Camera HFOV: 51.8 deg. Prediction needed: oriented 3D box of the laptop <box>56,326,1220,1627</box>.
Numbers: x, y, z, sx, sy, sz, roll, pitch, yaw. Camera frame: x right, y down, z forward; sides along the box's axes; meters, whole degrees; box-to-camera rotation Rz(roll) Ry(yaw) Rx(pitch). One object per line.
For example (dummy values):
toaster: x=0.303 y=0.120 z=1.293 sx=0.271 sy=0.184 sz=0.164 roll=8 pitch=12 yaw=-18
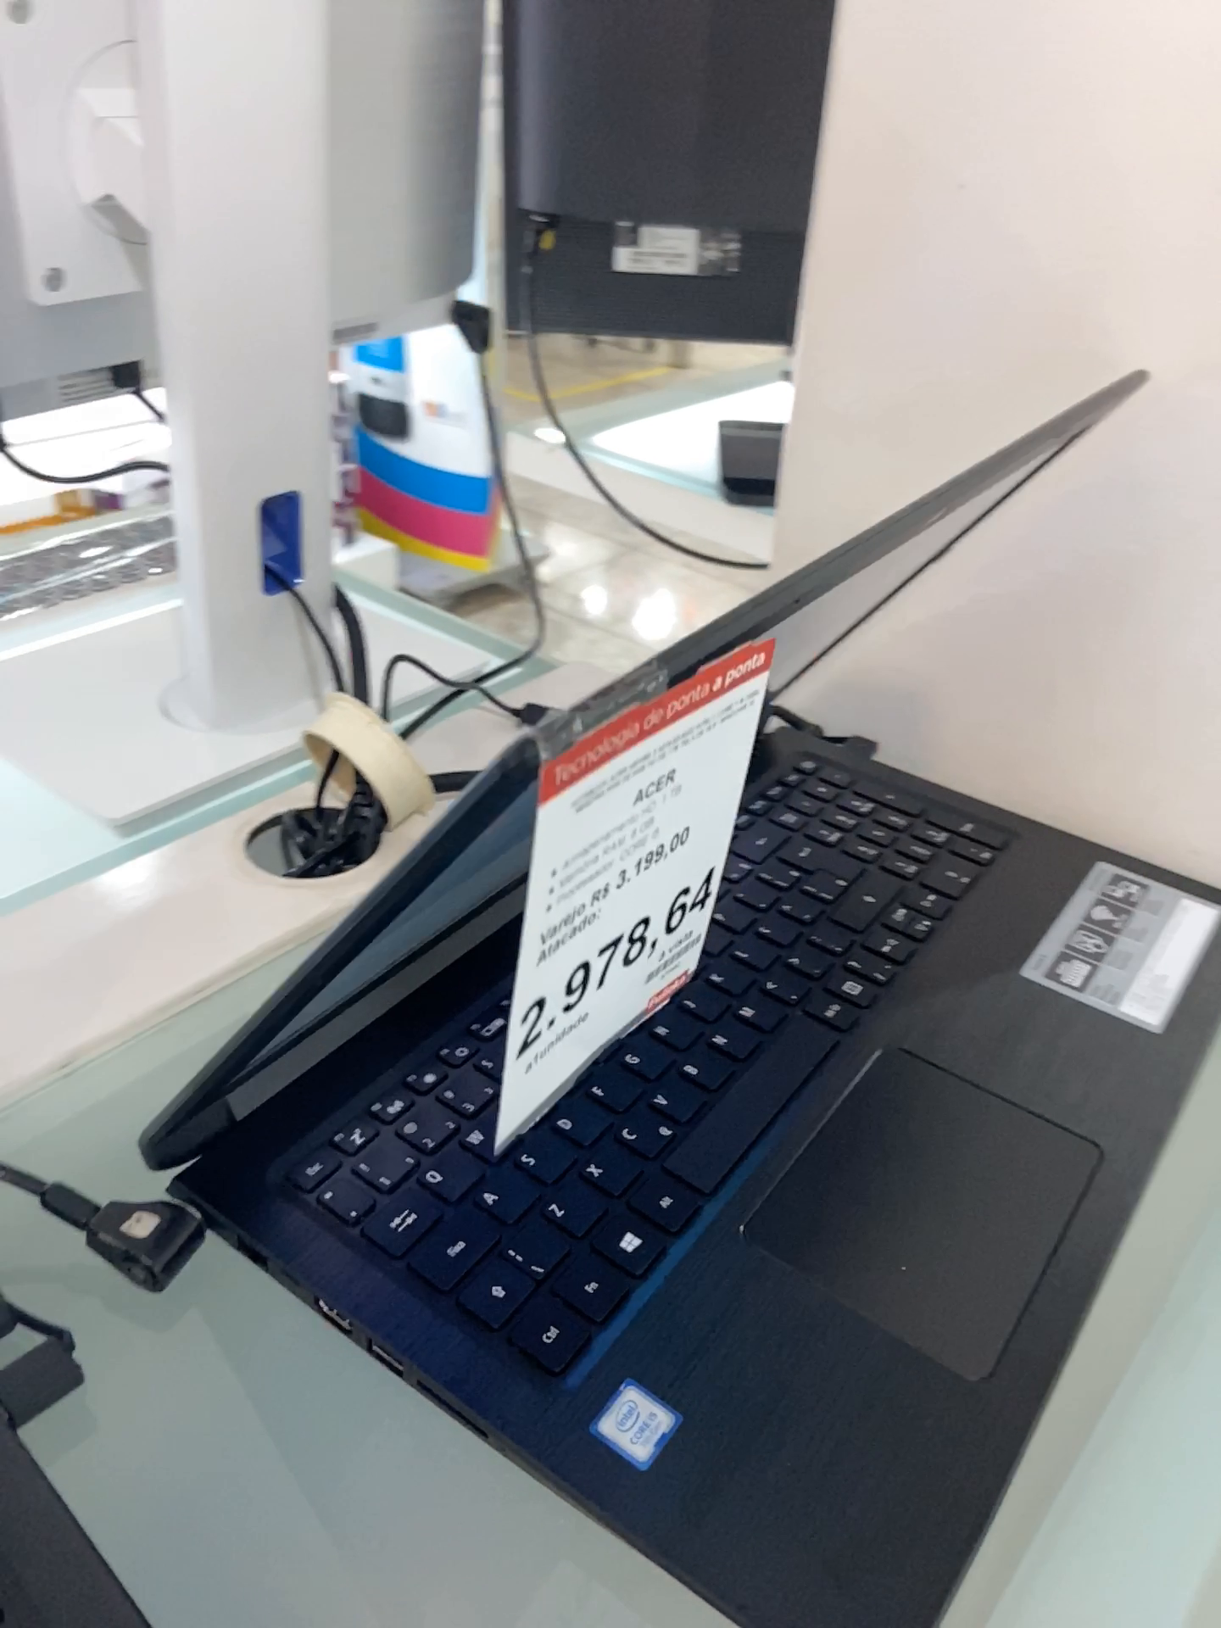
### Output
laptop: x=0.076 y=-0.007 z=0.404 sx=0.234 sy=0.193 sz=0.369 roll=24 pitch=38 yaw=28
